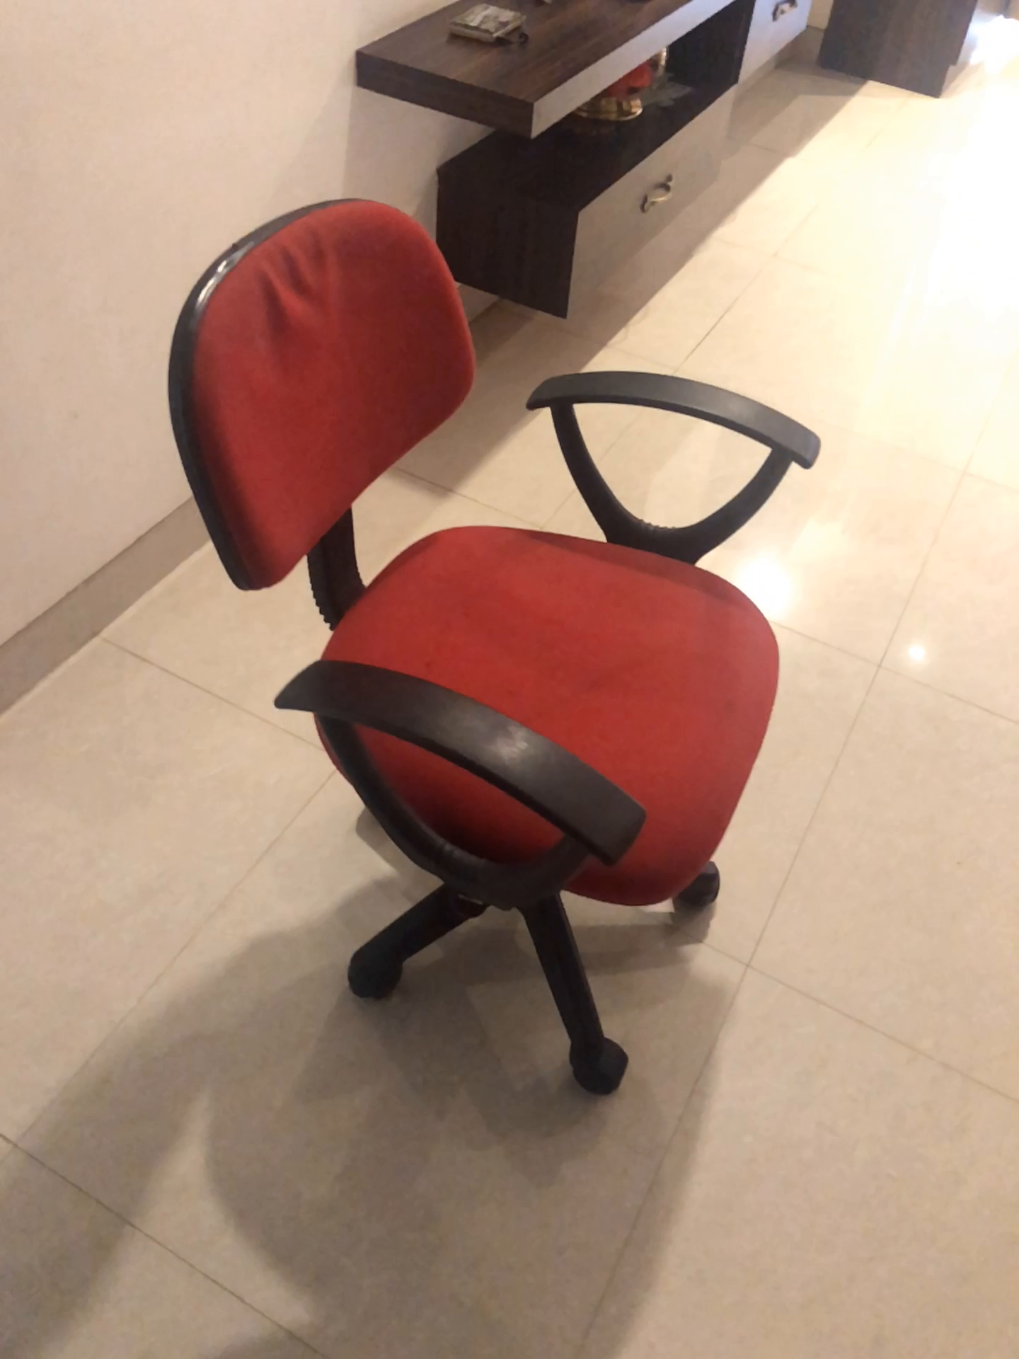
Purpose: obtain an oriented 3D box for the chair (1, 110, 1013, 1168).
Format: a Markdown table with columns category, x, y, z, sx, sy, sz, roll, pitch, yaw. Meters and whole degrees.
| category | x | y | z | sx | sy | sz | roll | pitch | yaw |
| --- | --- | --- | --- | --- | --- | --- | --- | --- | --- |
| chair | 0.014 | -0.033 | 1.120 | 0.601 | 0.725 | 0.543 | 22 | 49 | 15 |
